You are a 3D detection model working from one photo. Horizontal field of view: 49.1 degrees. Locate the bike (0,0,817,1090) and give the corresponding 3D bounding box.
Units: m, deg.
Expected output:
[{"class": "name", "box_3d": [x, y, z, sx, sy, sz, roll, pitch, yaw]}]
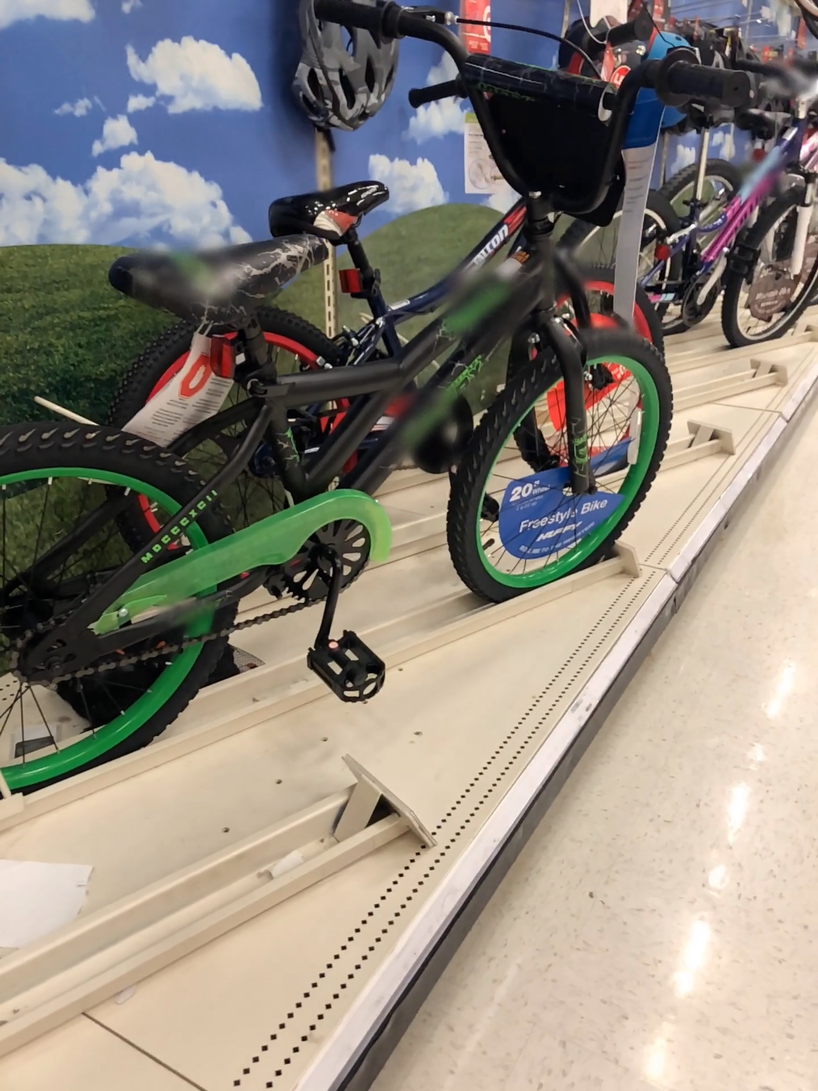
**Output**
[{"class": "bike", "box_3d": [-0.080, -0.229, 1.160, 1.367, 0.879, 0.628, -19, 31, -35]}]
